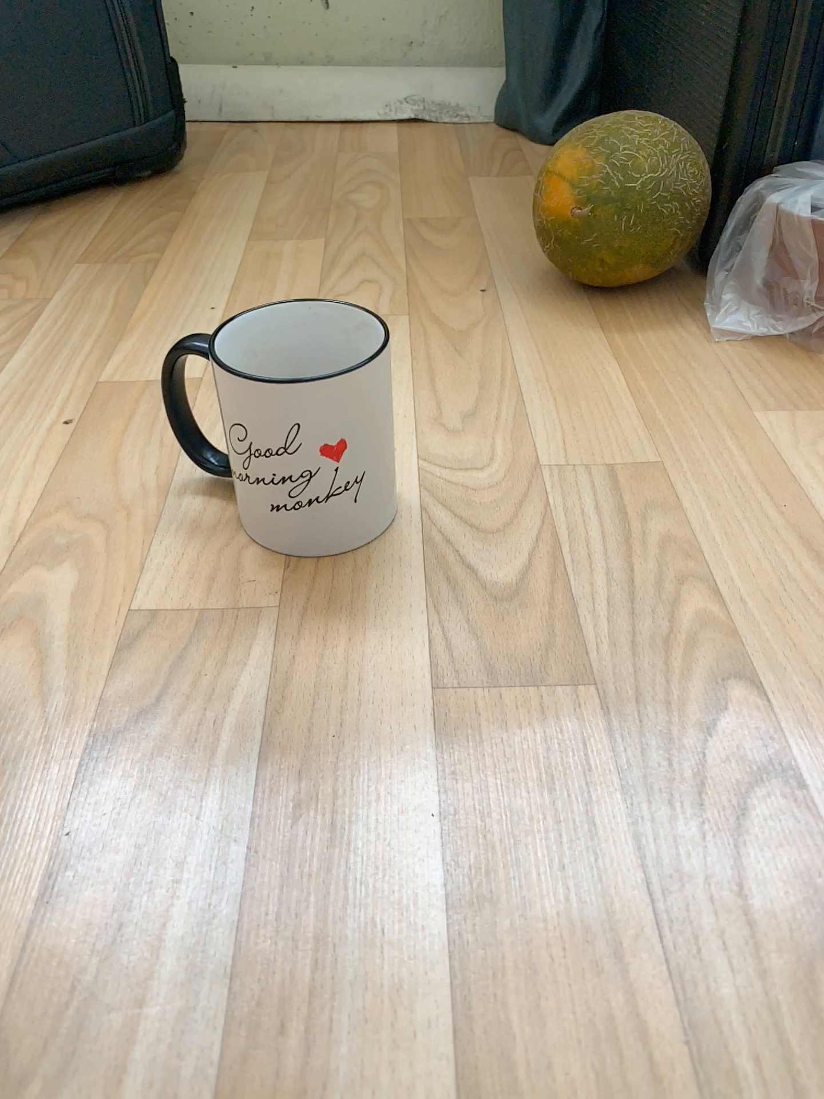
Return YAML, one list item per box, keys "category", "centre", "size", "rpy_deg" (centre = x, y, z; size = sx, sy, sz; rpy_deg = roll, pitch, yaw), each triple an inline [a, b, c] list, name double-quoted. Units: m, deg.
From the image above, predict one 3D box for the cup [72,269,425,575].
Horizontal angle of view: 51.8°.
- category: "cup"
  centre: [-0.067, -0.061, 0.397]
  size: [0.130, 0.100, 0.080]
  rpy_deg: [9, 41, 11]
